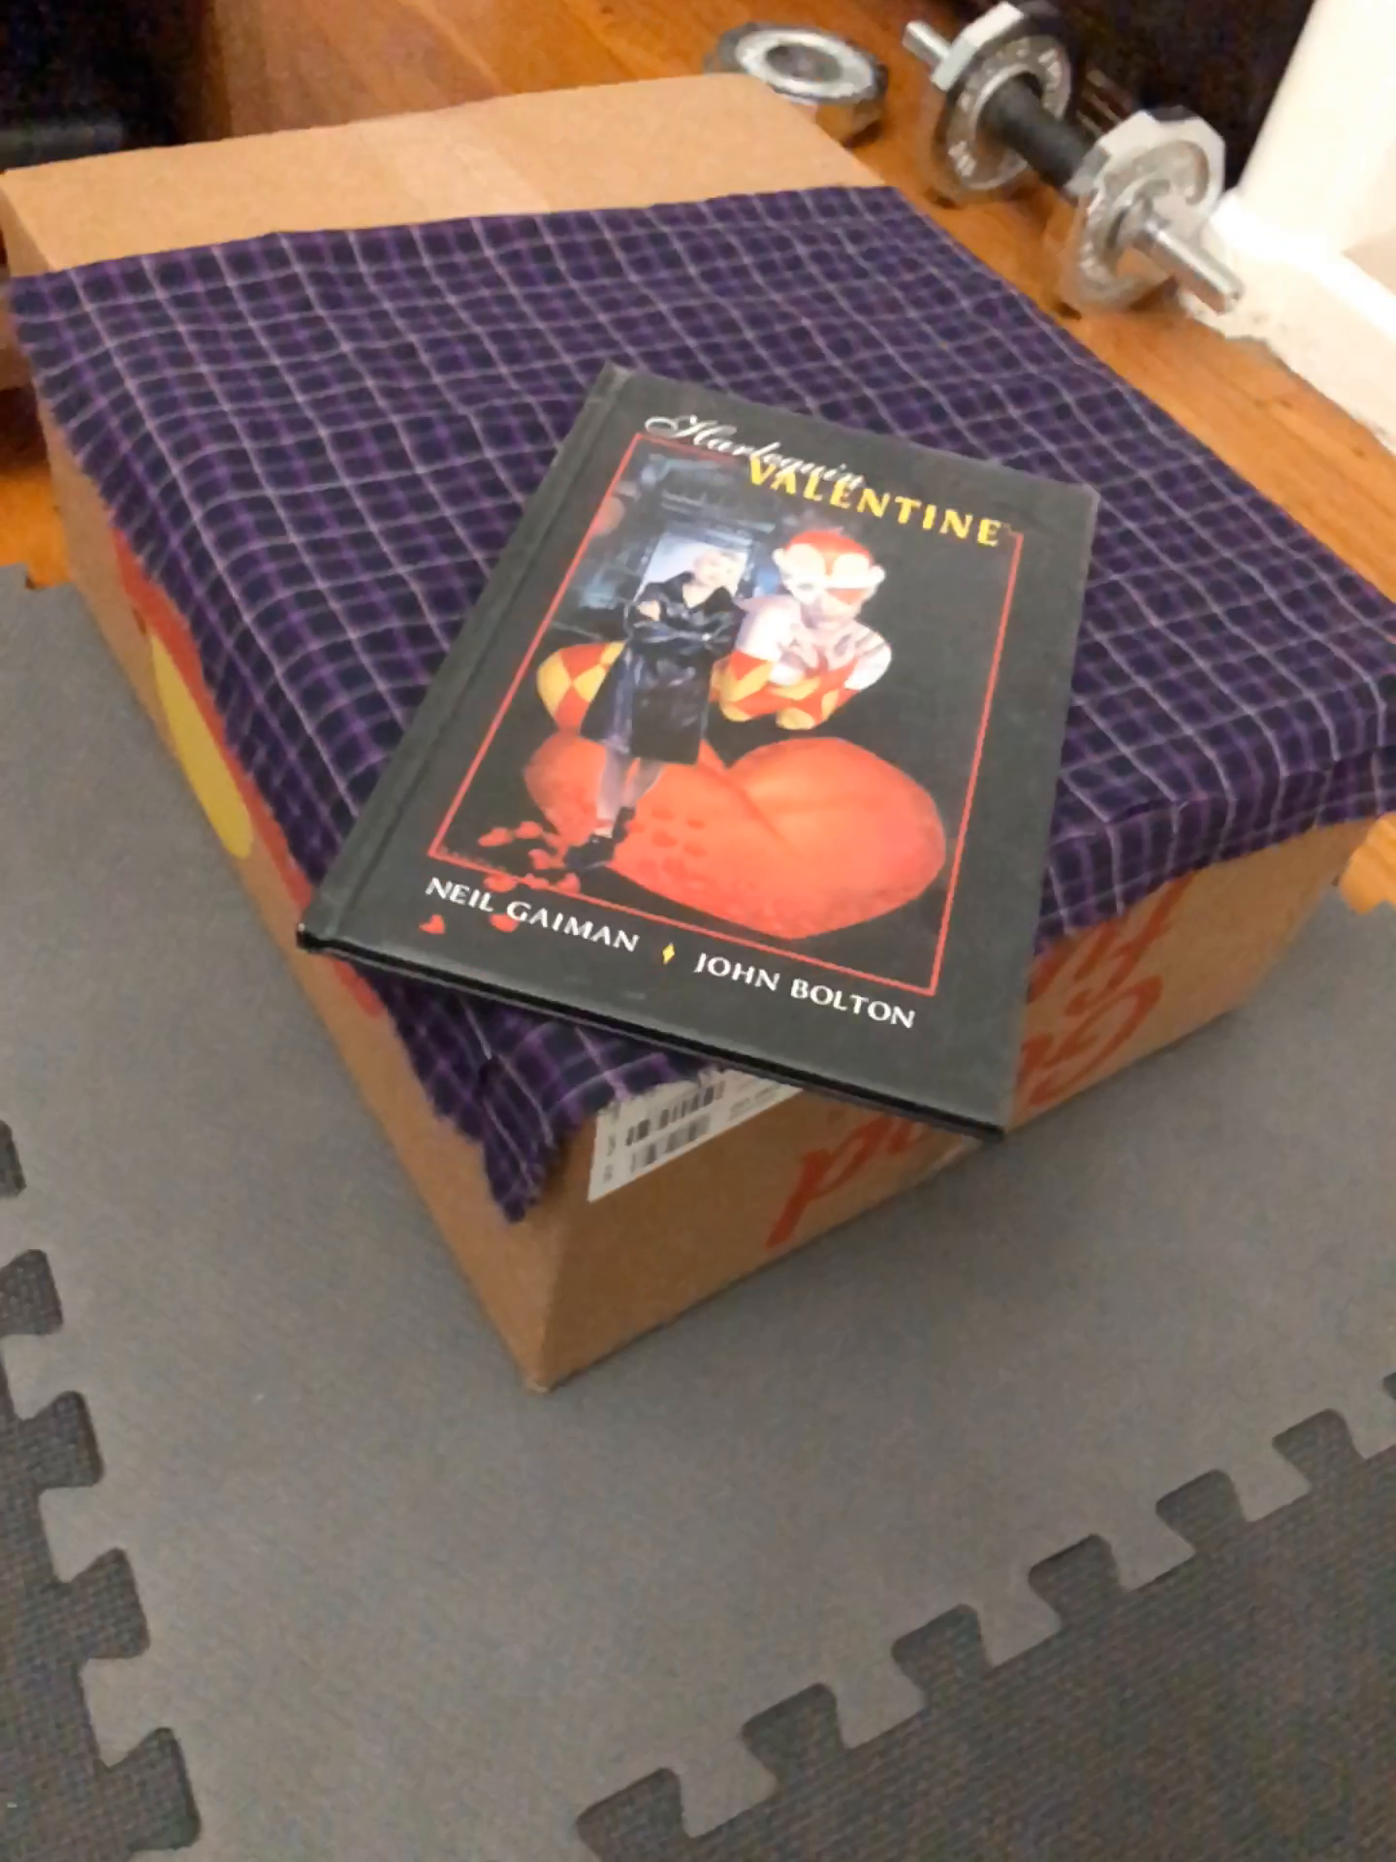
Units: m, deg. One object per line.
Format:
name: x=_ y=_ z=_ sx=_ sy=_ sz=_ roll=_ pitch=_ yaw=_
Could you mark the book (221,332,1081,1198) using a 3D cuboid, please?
book: x=0.010 y=-0.072 z=0.443 sx=0.180 sy=0.020 sz=0.282 roll=15 pitch=50 yaw=2
